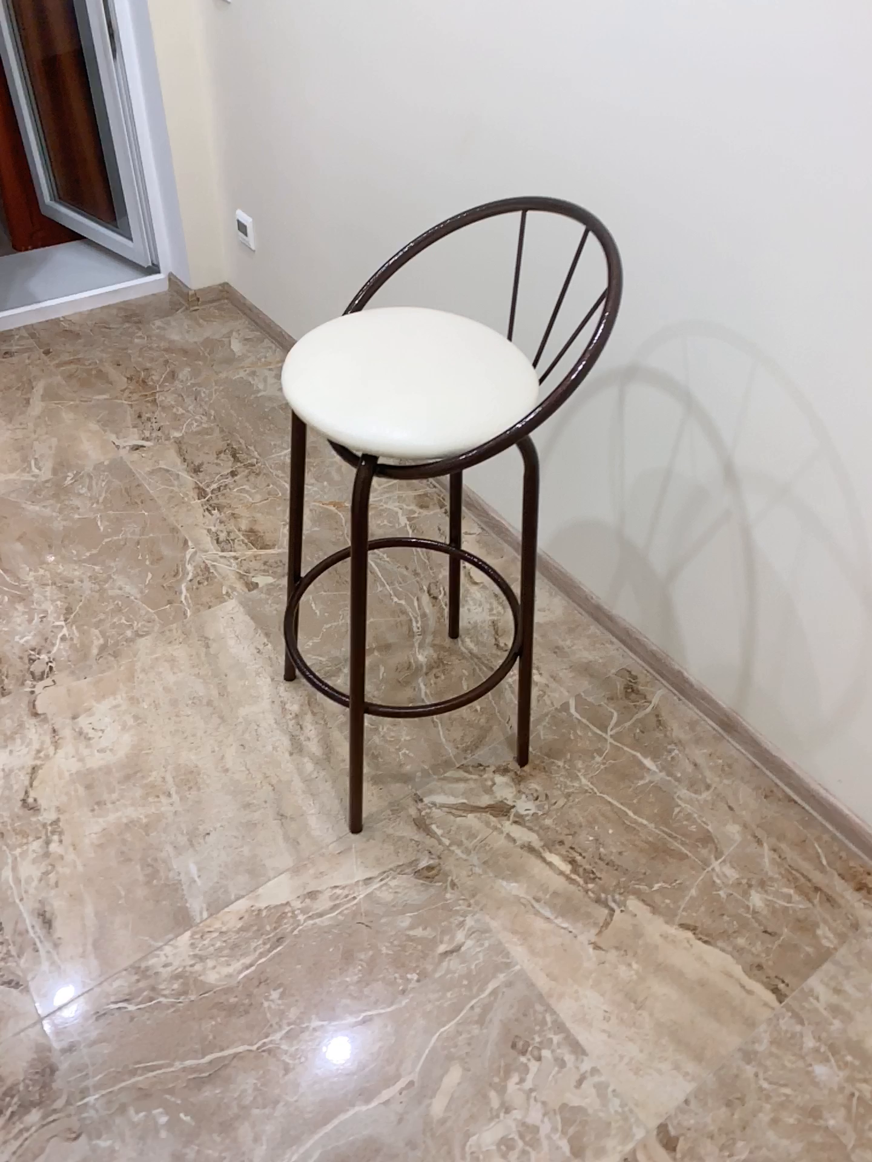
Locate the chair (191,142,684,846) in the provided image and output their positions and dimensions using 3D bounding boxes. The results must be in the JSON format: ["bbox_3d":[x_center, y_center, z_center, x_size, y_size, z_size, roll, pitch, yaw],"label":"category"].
[{"bbox_3d":[-0.035,-0.085,1.237,0.400,0.835,0.402,-15,47,-19],"label":"chair"}]
